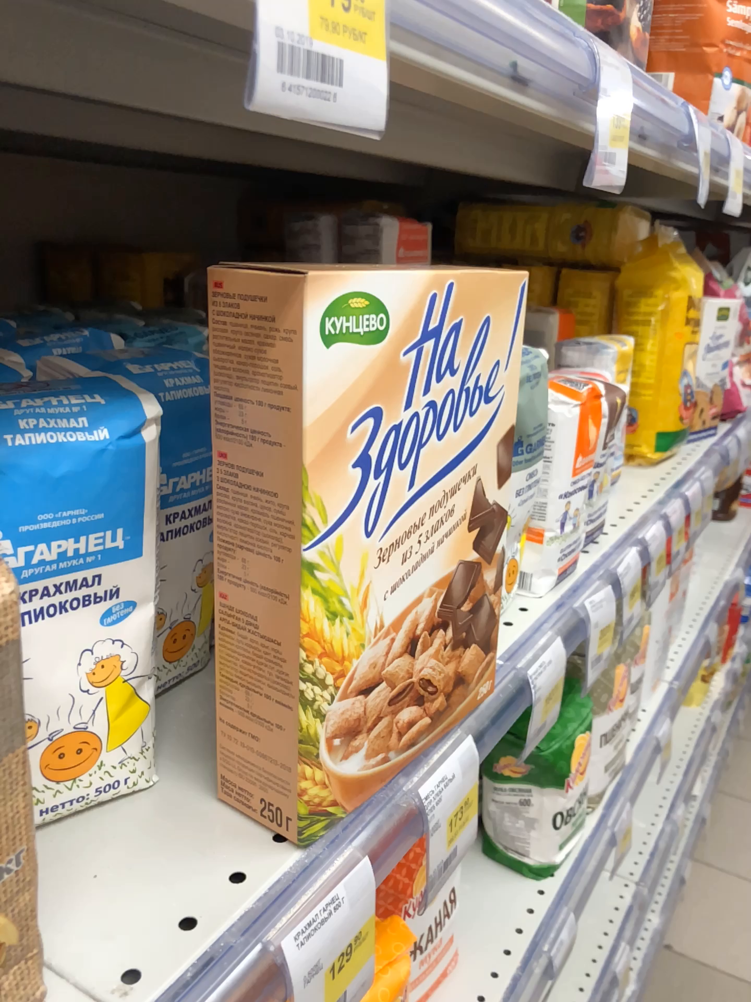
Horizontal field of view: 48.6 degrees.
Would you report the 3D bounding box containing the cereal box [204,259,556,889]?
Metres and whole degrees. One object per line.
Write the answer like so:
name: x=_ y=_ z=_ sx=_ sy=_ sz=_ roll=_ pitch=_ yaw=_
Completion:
cereal box: x=0.008 y=0.014 z=0.349 sx=0.050 sy=0.219 sz=0.160 roll=13 pitch=20 yaw=34
